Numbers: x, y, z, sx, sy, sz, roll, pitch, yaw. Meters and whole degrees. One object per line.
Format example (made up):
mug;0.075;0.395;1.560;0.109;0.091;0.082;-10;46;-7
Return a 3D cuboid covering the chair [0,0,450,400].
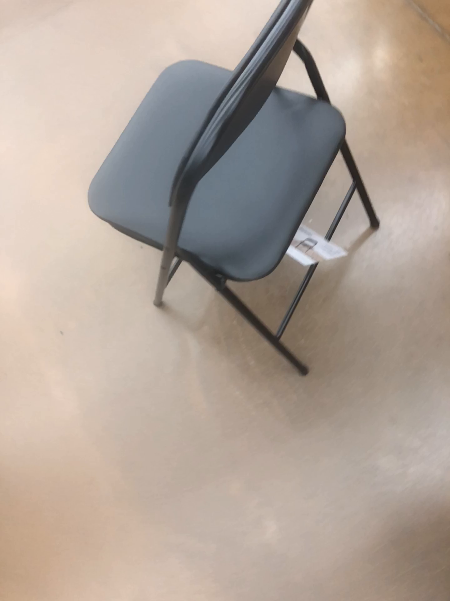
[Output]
chair;0.024;-0.236;0.874;0.491;0.759;0.520;22;75;21
